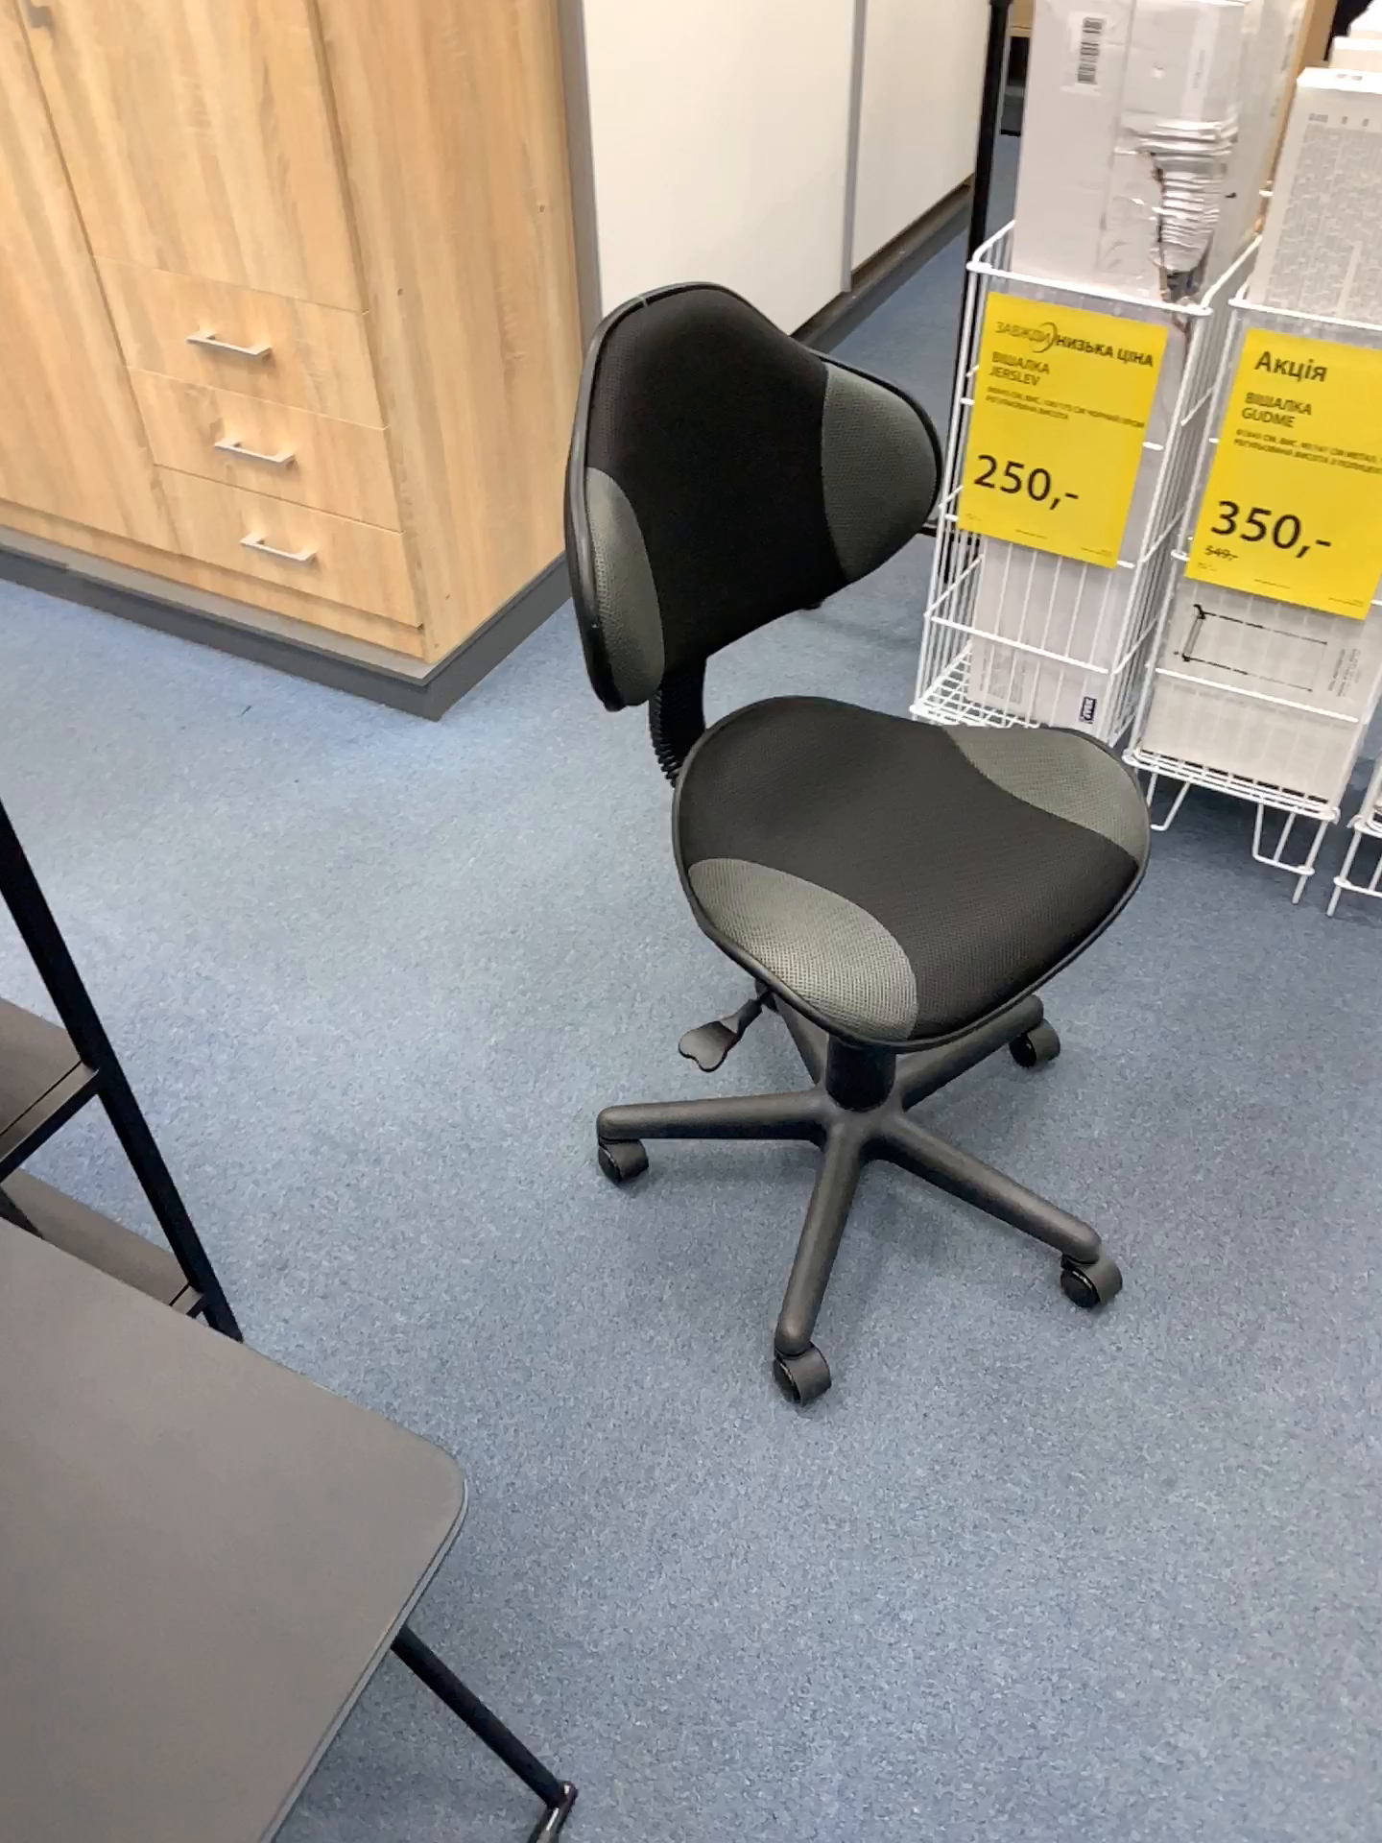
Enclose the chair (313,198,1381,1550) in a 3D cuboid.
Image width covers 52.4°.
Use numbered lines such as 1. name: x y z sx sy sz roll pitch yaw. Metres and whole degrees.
1. chair: 0.184 -0.055 1.361 0.631 0.916 0.692 -34 52 -29
